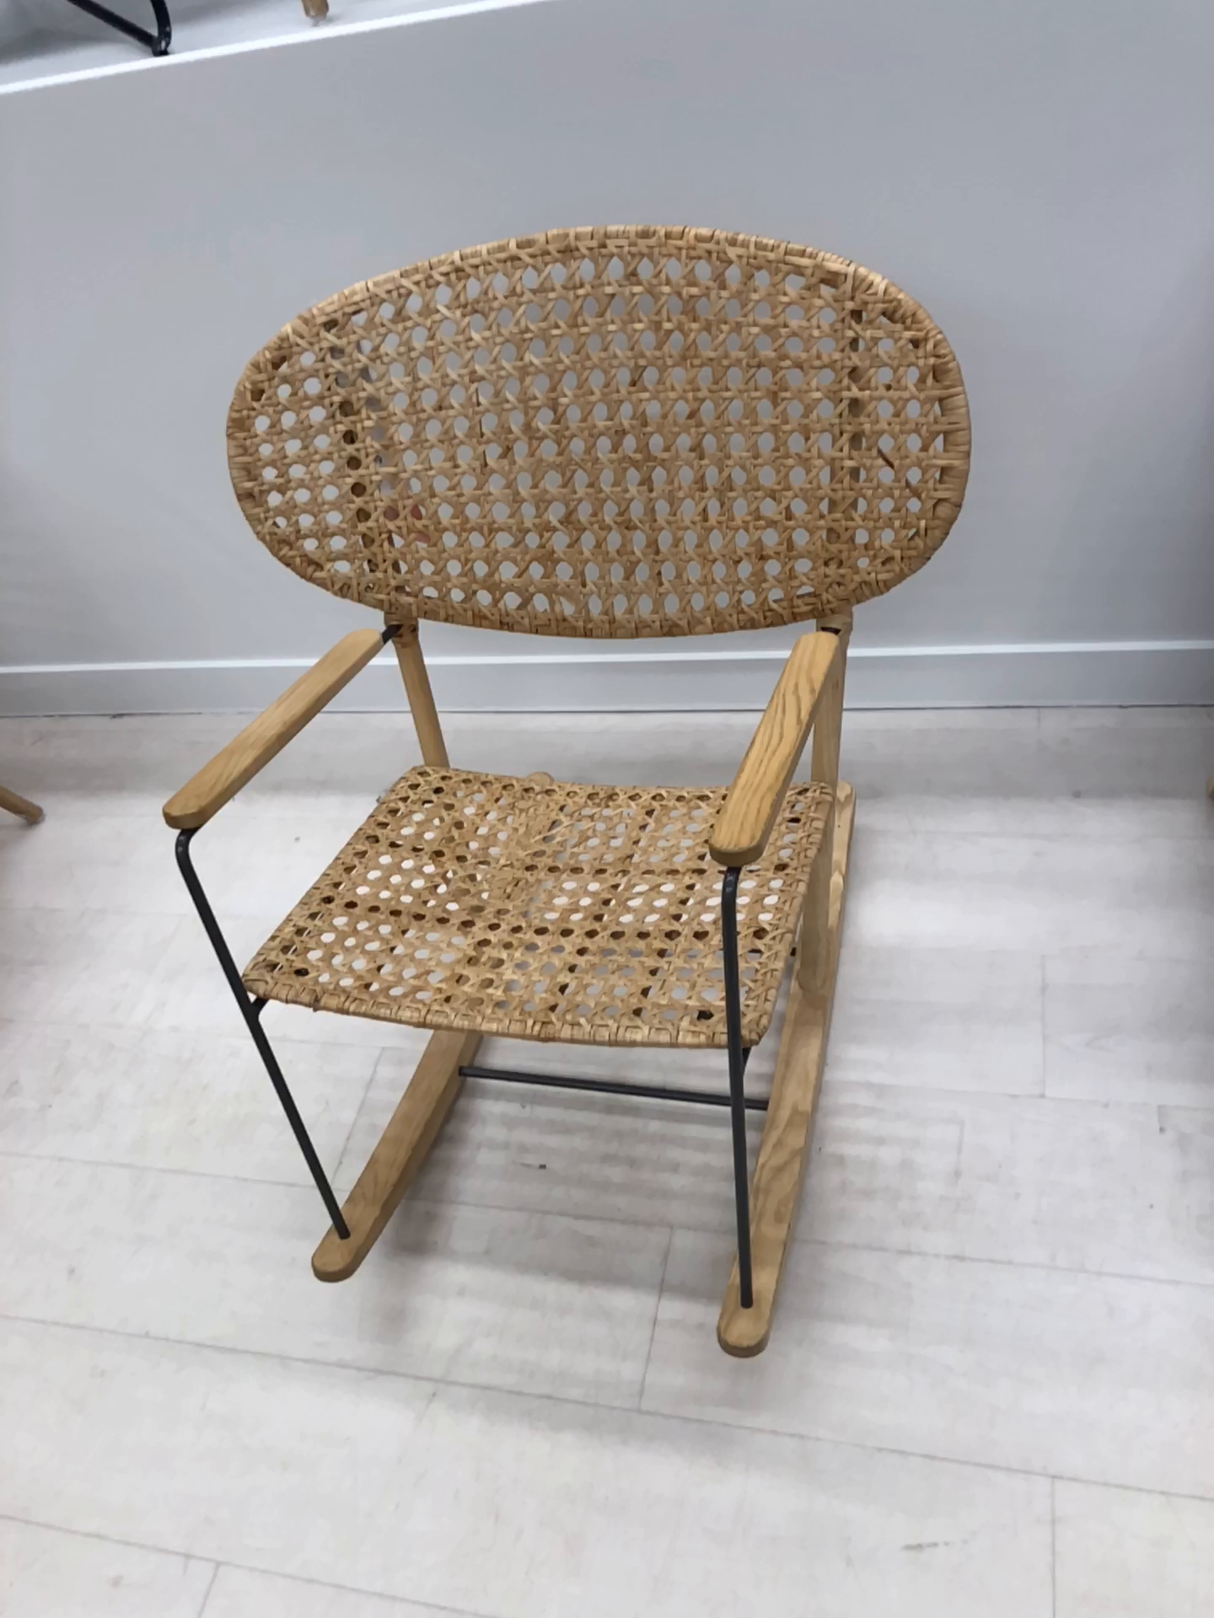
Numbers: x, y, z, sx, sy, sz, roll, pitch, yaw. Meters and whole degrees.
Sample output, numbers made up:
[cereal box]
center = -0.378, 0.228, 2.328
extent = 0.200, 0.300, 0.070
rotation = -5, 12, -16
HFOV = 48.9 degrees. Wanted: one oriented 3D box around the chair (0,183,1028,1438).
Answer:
[chair]
center = -0.038, -0.021, 1.367
extent = 0.831, 0.787, 0.853
rotation = 3, 48, 19
